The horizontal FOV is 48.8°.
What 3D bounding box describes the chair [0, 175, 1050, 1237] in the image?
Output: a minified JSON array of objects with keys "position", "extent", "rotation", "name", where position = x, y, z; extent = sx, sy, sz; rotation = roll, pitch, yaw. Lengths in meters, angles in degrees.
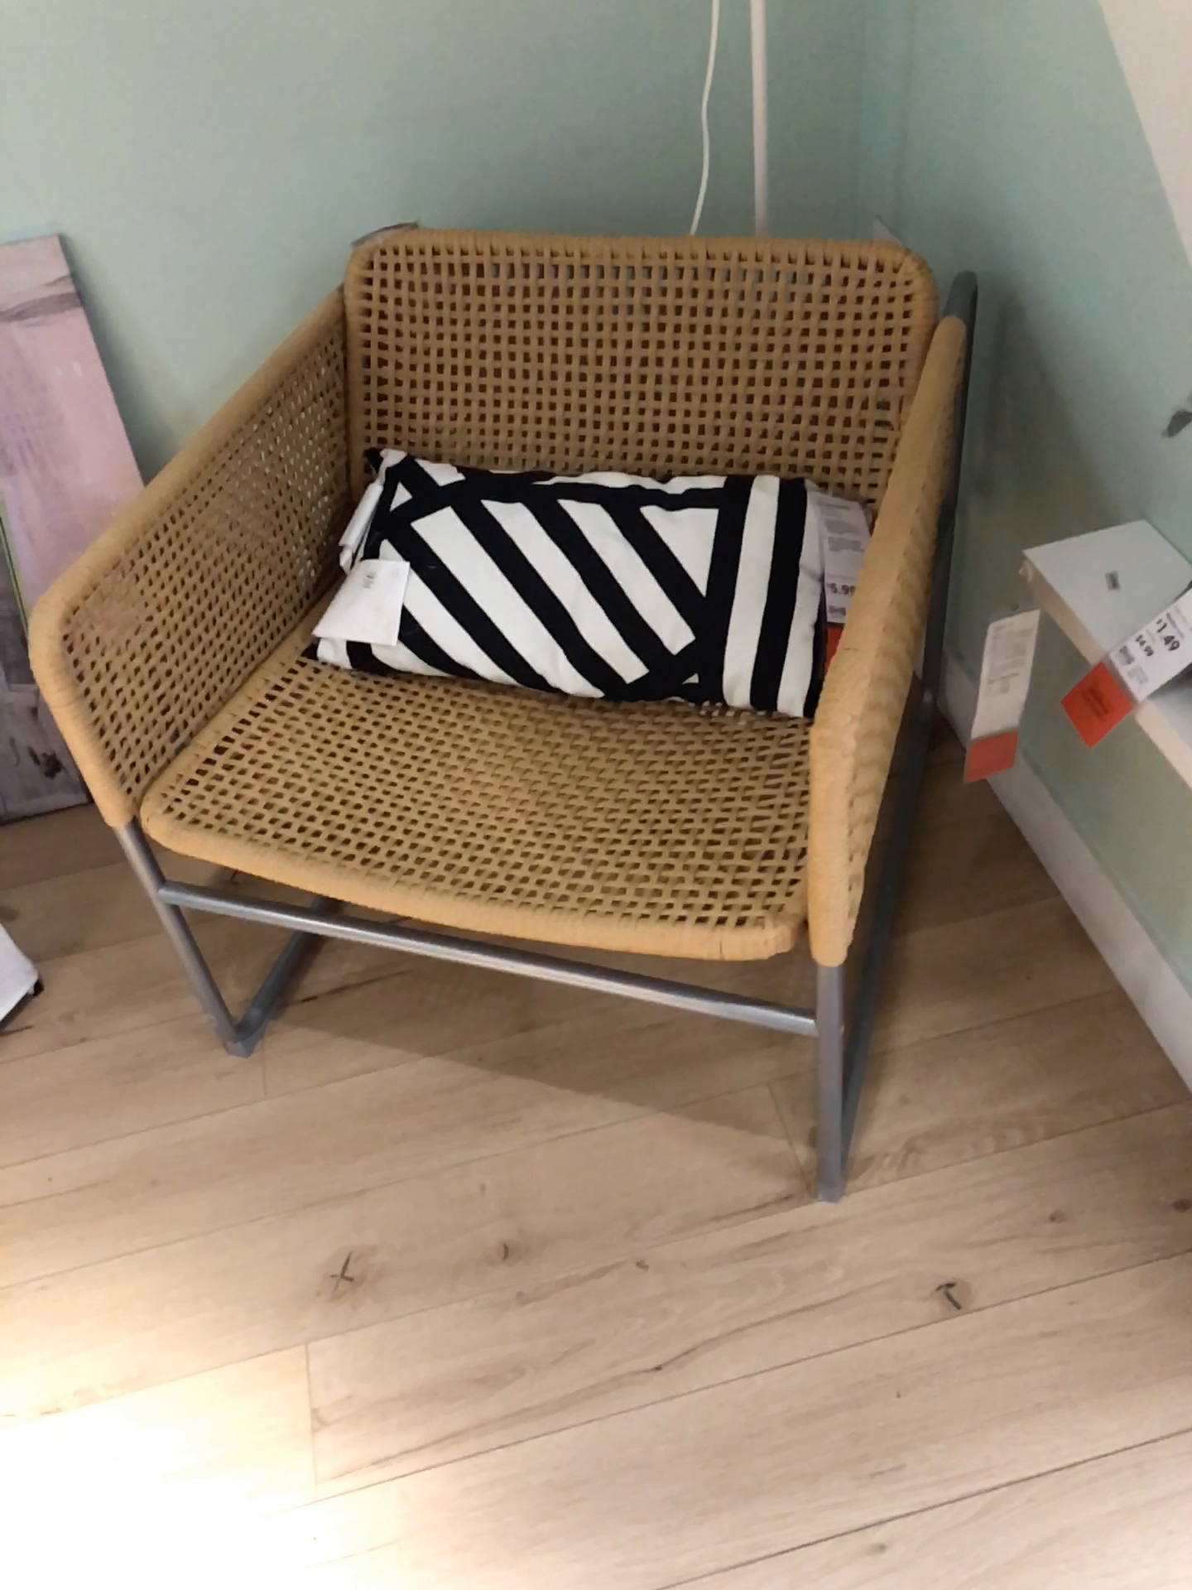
[{"position":[-0.032,-0.146,1.311],"extent":[0.791,0.628,0.752],"rotation":[9,47,17],"name":"chair"}]
